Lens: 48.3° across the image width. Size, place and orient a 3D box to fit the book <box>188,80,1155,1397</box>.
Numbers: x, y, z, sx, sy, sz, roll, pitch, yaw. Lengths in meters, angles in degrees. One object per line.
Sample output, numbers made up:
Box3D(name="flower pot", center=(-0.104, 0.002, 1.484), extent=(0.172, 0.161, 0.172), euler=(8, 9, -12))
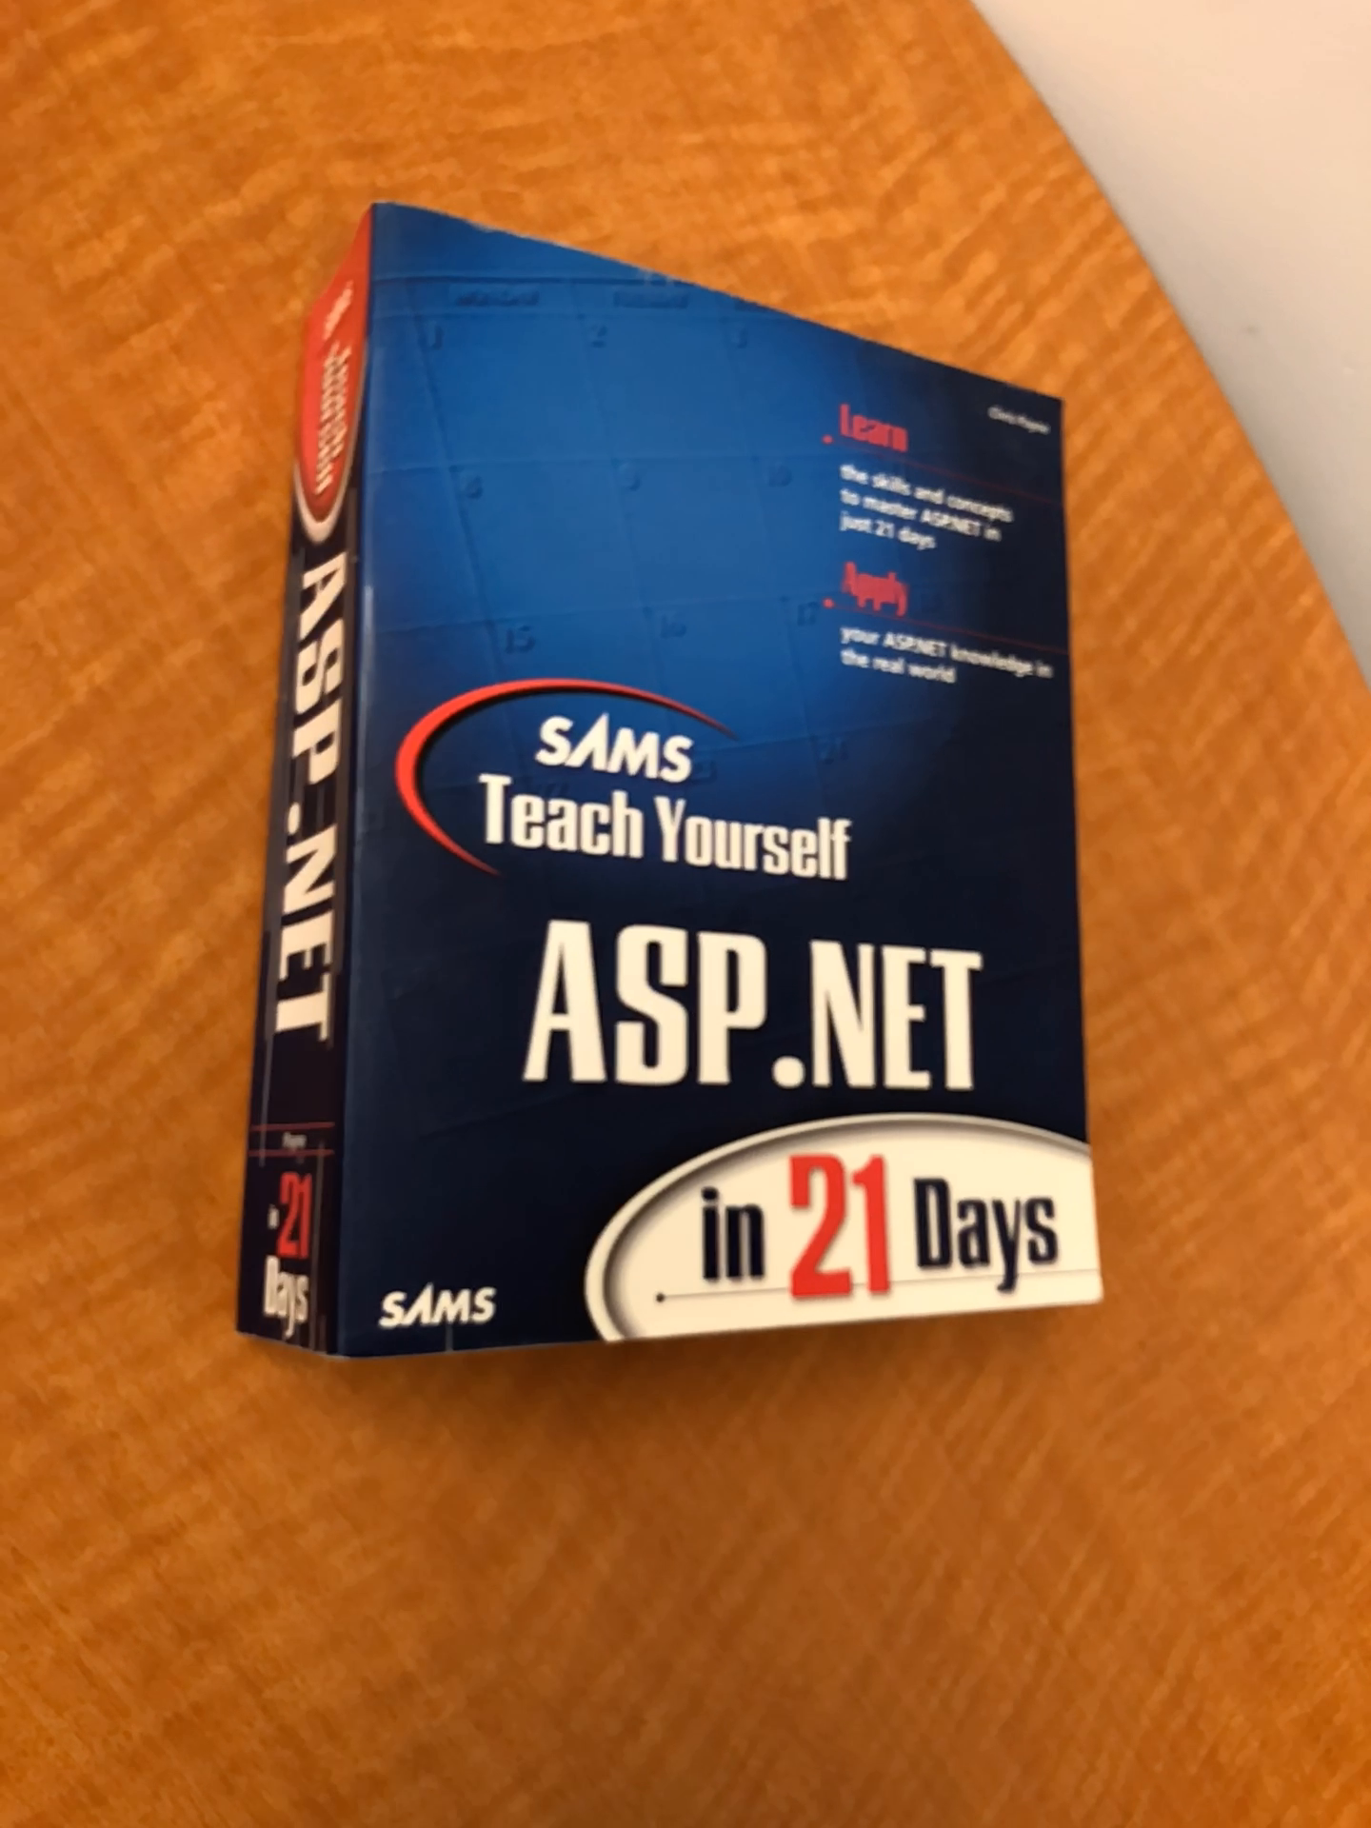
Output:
Box3D(name="book", center=(0.008, -0.024, 0.349), extent=(0.200, 0.070, 0.240), euler=(8, 79, -30))
